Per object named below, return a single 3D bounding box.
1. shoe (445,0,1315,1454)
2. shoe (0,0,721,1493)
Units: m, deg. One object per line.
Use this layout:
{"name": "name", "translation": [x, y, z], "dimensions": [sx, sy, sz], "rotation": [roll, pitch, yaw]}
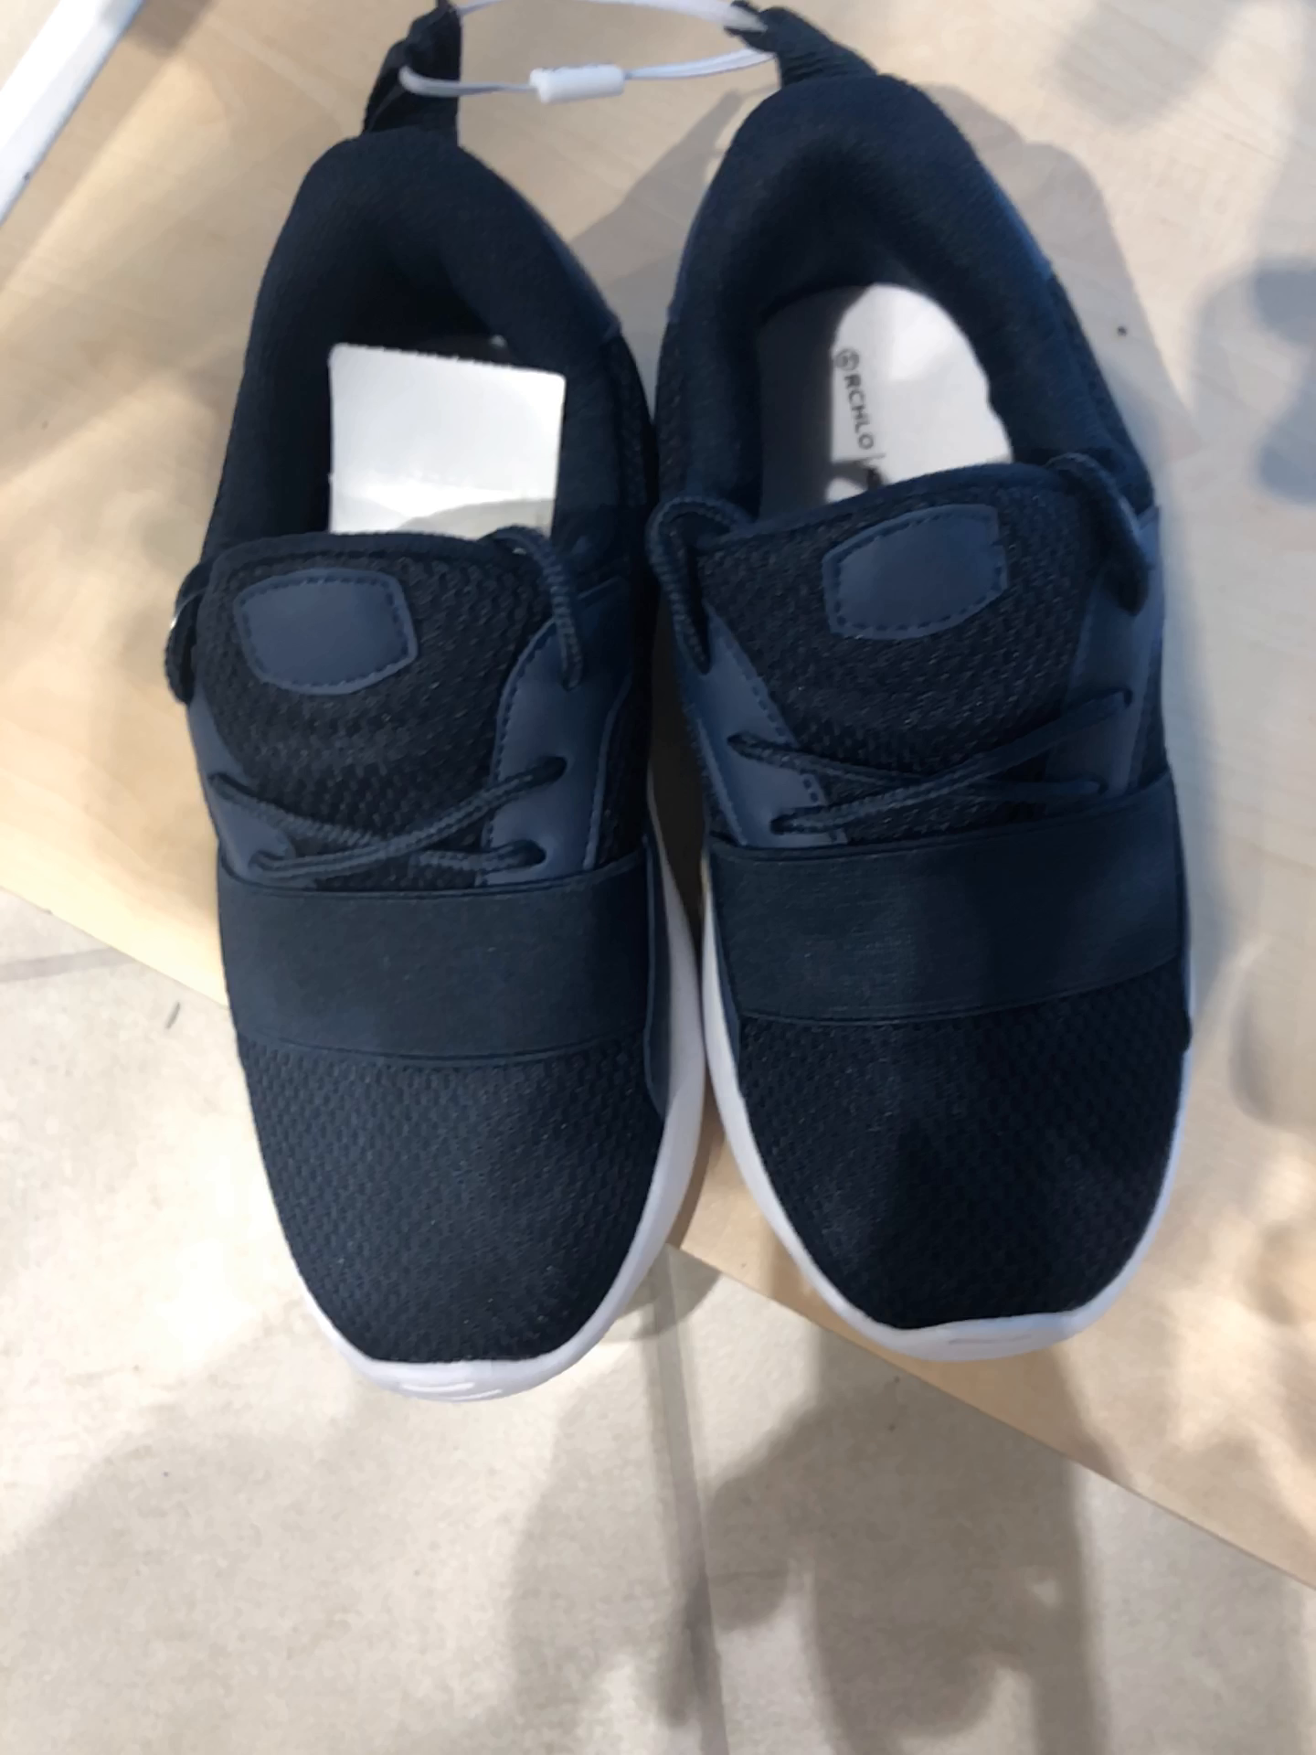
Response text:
{"name": "shoe", "translation": [0.035, -0.042, 0.252], "dimensions": [0.100, 0.100, 0.240], "rotation": [-8, 77, 5]}
{"name": "shoe", "translation": [-0.038, -0.028, 0.266], "dimensions": [0.090, 0.100, 0.240], "rotation": [-1, 77, 7]}
